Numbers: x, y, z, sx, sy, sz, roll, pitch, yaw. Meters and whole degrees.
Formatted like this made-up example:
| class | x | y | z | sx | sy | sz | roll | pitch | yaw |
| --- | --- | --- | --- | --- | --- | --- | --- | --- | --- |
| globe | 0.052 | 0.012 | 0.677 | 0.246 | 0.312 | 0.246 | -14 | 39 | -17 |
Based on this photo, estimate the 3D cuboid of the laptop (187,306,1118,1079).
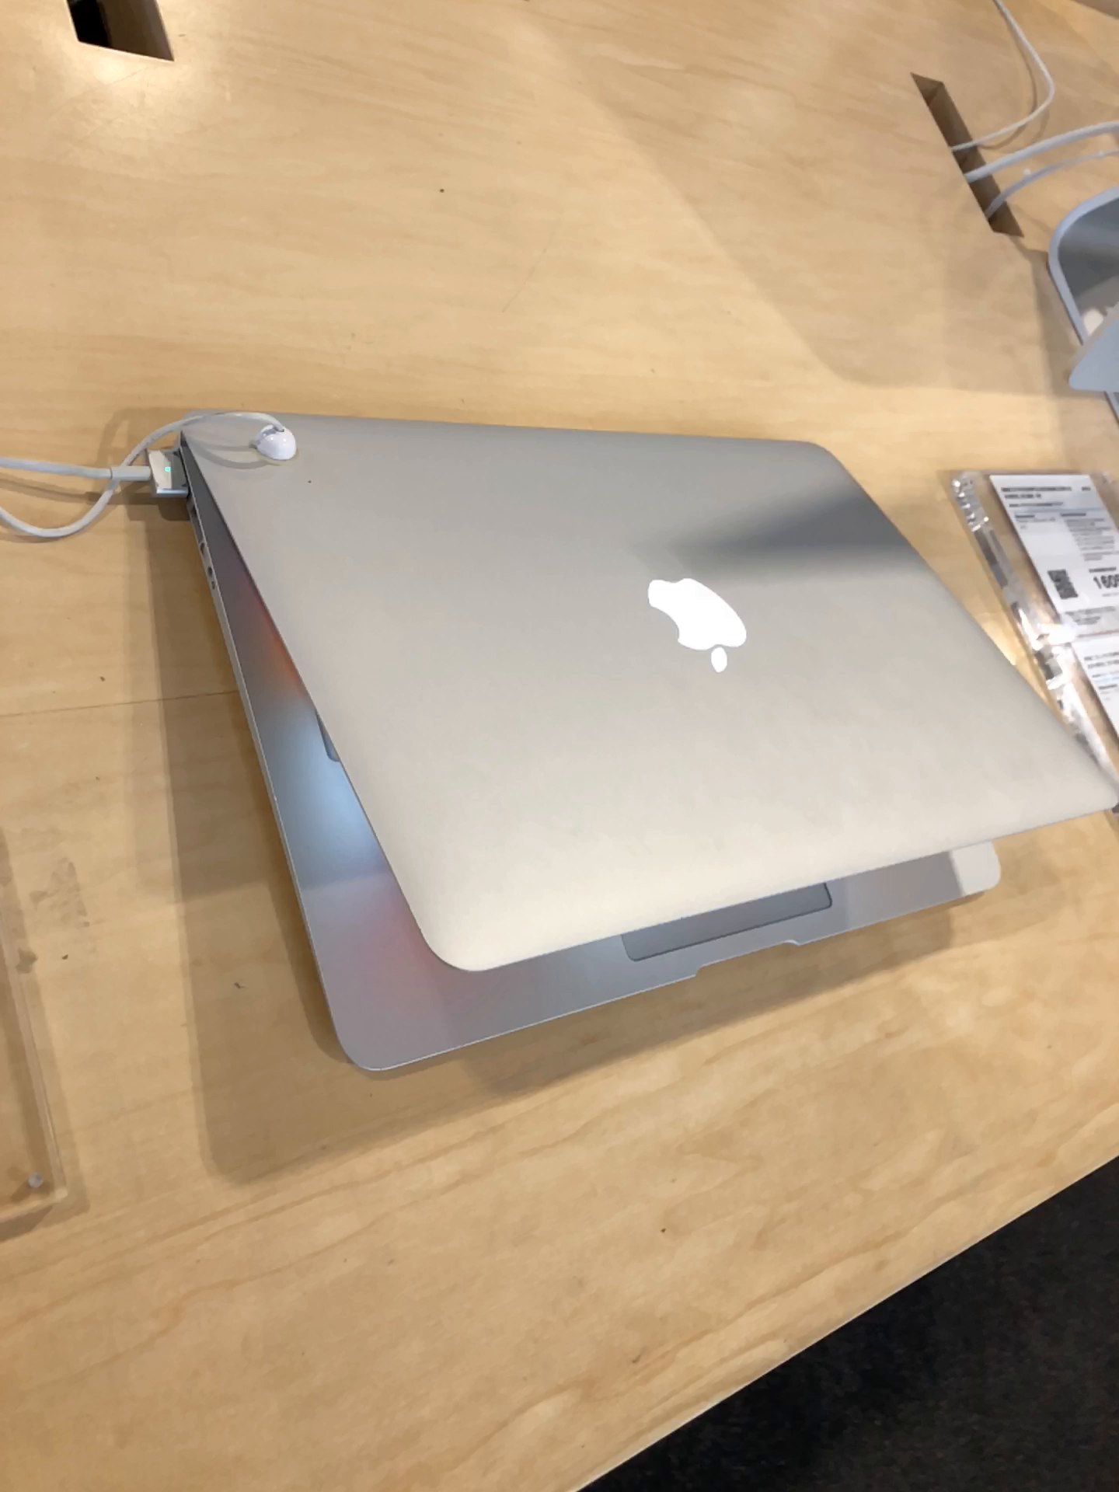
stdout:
| class | x | y | z | sx | sy | sz | roll | pitch | yaw |
| --- | --- | --- | --- | --- | --- | --- | --- | --- | --- |
| laptop | 0.057 | -0.033 | 0.444 | 0.316 | 0.067 | 0.215 | -7 | 70 | -36 |
